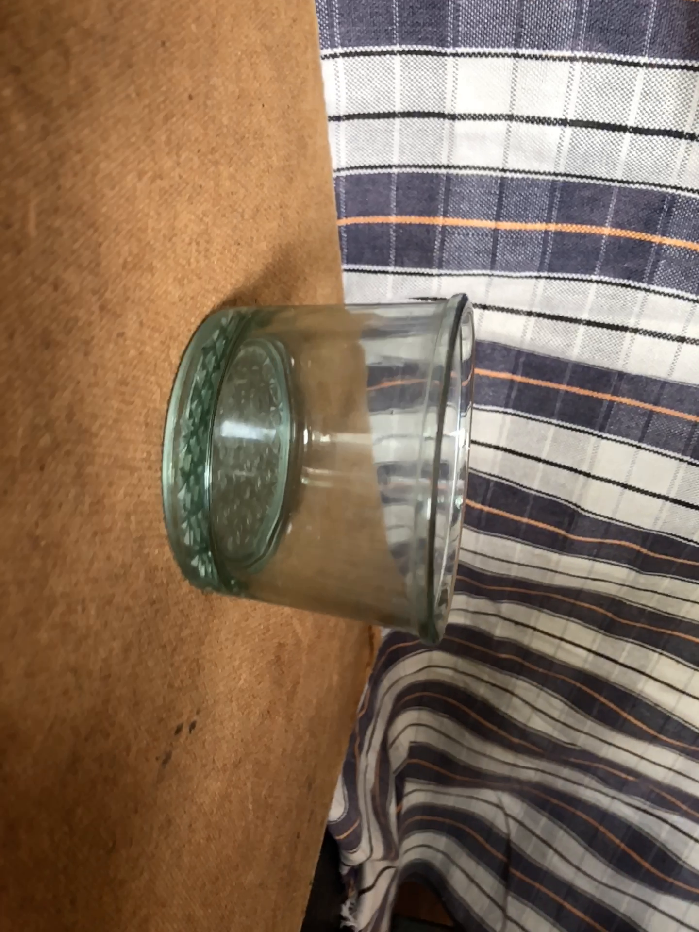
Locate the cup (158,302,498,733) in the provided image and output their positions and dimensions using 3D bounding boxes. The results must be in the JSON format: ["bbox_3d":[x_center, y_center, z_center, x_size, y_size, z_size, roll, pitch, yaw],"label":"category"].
[{"bbox_3d":[0.000,0.004,0.185,0.070,0.060,0.080,-46,139,-71],"label":"cup"}]
